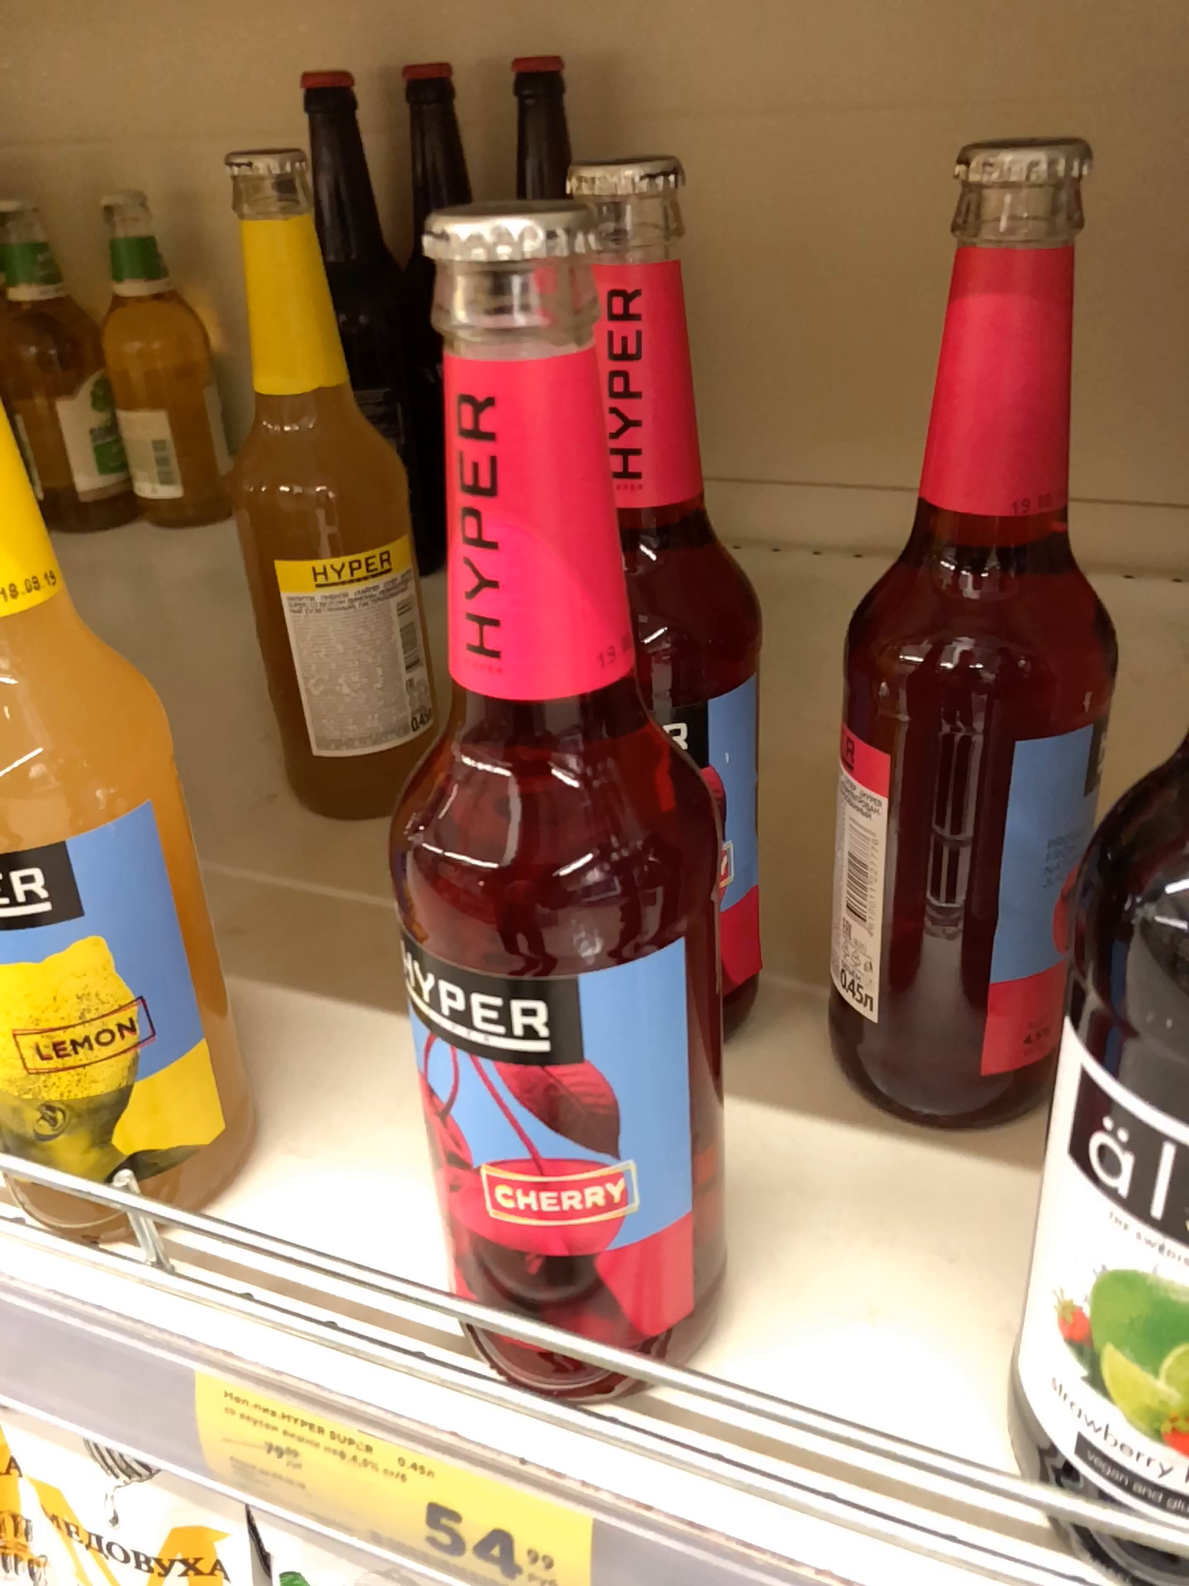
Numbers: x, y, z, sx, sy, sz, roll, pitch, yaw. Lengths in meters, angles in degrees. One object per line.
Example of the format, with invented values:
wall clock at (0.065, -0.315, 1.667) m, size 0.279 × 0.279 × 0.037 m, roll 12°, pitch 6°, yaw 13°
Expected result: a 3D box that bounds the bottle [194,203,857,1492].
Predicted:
bottle at (-0.003, 0.017, 0.266) m, size 0.080 × 0.243 × 0.070 m, roll 15°, pitch 33°, yaw 31°
